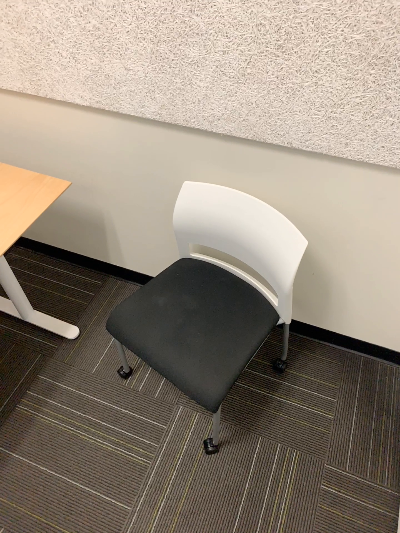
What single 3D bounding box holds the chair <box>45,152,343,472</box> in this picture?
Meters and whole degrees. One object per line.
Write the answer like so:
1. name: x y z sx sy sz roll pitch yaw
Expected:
1. chair: 0.001 0.167 1.478 0.622 0.777 0.621 28 55 23
